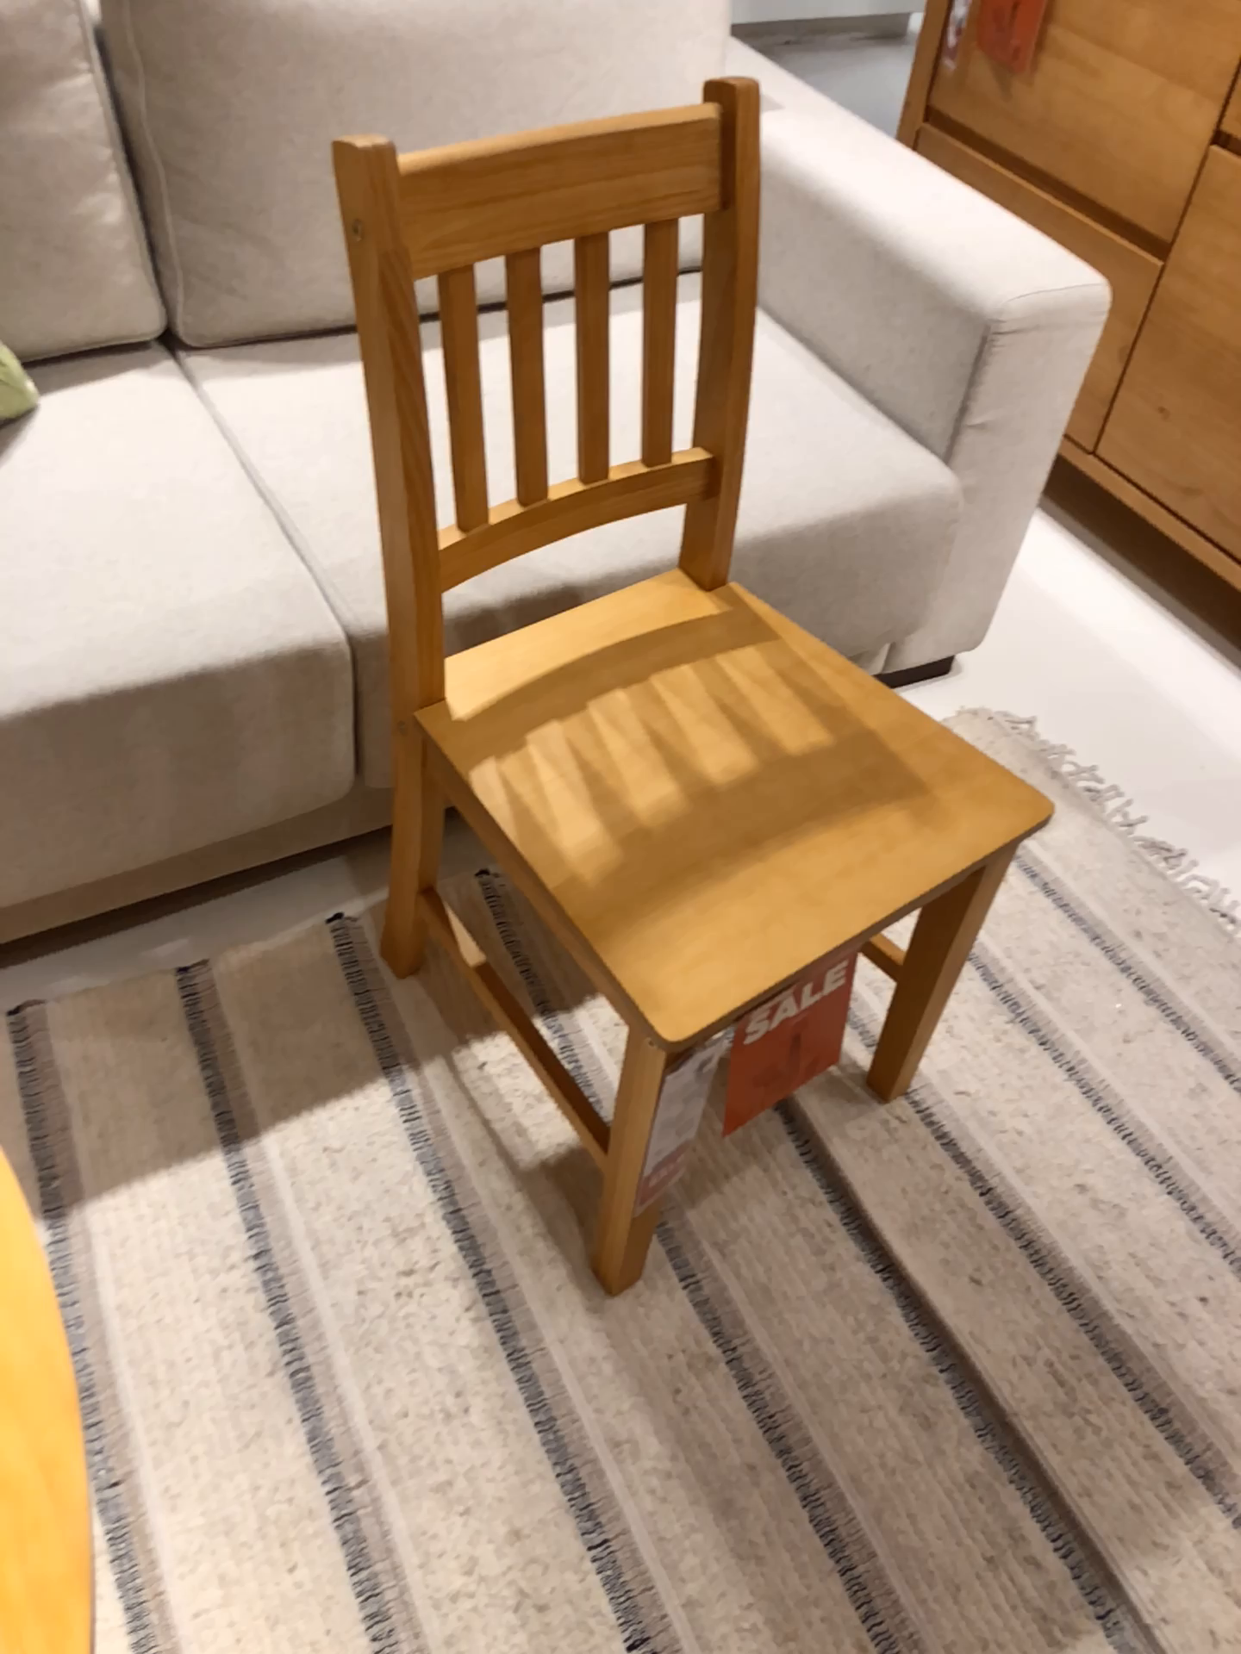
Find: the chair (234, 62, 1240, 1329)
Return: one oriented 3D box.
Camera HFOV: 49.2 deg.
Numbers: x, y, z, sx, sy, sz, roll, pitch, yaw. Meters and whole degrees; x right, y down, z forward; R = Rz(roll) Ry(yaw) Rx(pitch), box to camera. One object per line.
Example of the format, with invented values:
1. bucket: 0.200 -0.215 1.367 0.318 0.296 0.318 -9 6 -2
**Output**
1. chair: 0.053 -0.091 1.148 0.462 0.814 0.522 -27 55 -30
